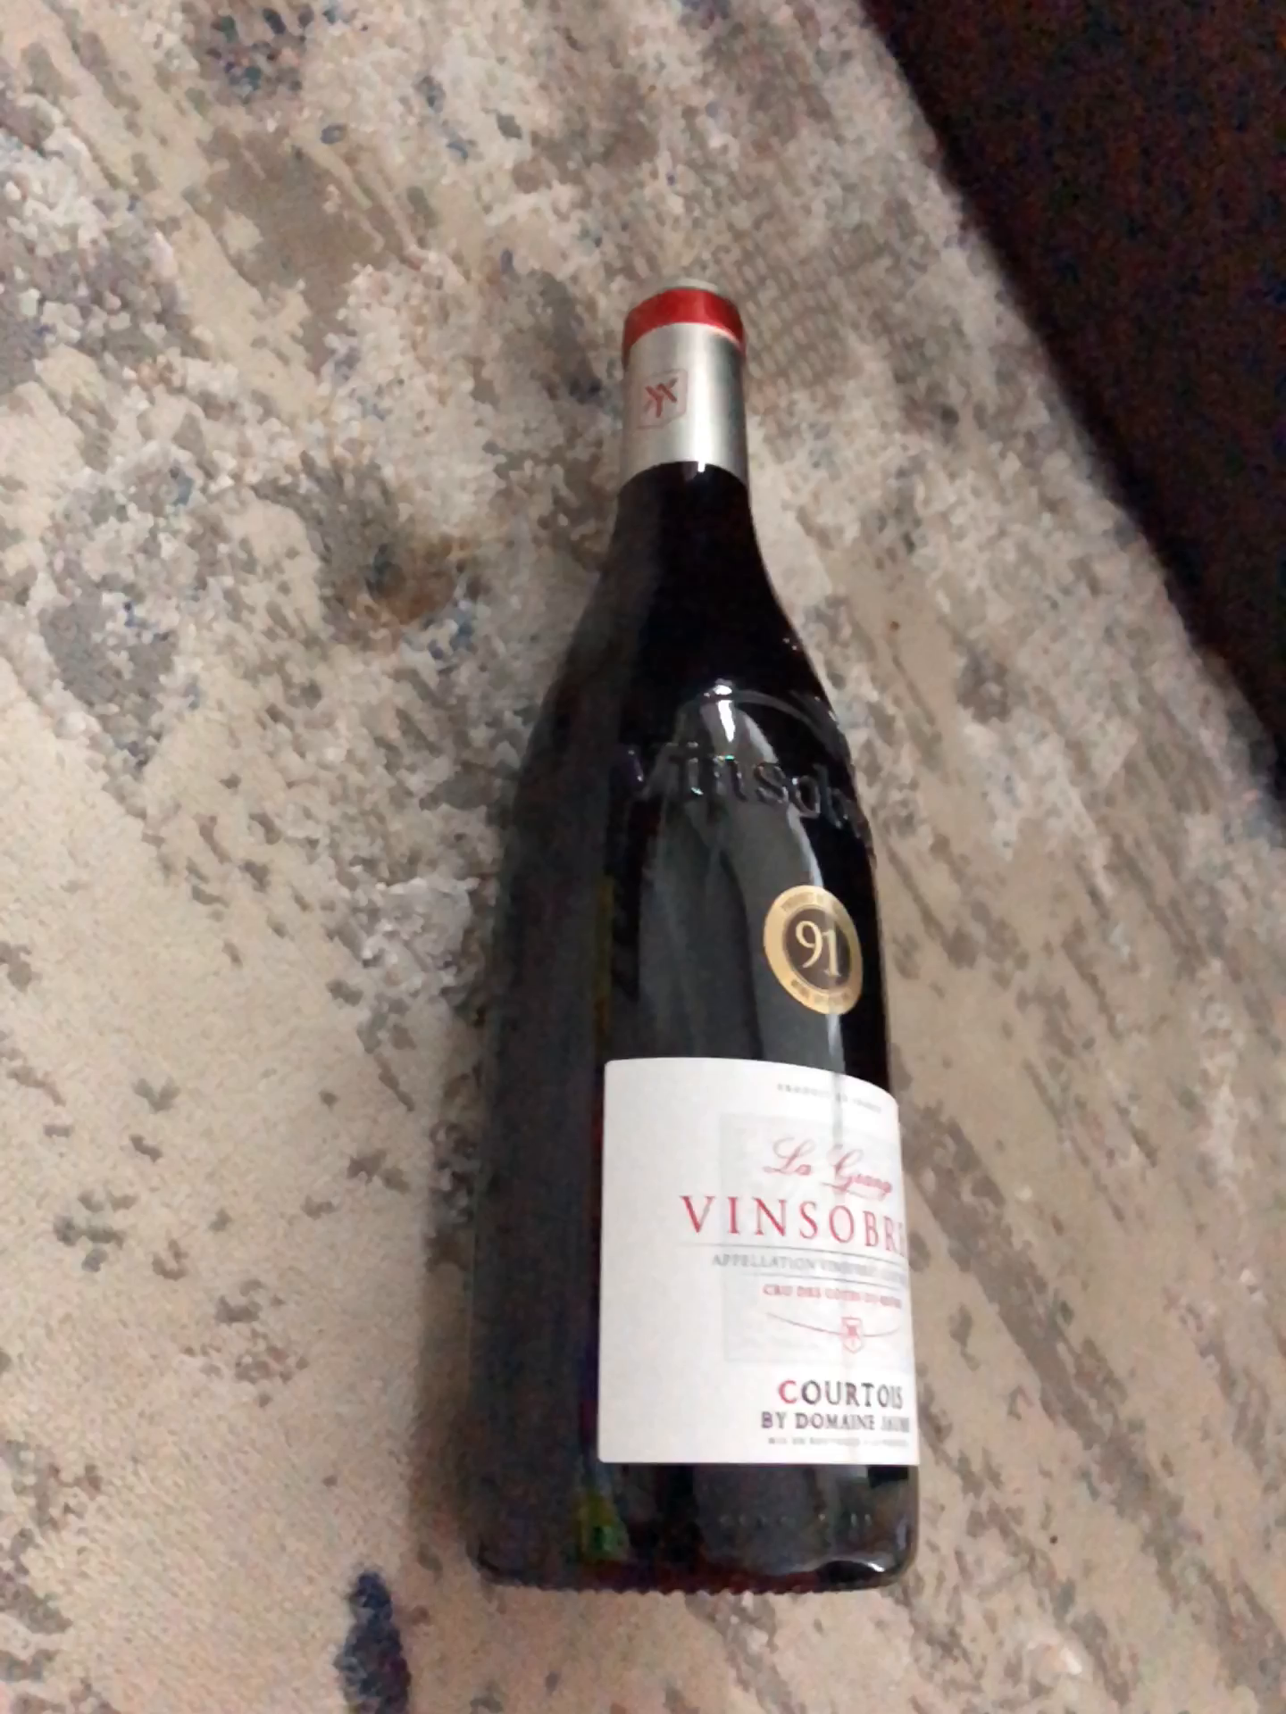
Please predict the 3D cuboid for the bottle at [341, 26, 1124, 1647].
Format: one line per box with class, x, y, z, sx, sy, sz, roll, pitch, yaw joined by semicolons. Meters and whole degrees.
bottle;0.016;-0.010;0.306;0.091;0.099;0.300;20;60;-38
